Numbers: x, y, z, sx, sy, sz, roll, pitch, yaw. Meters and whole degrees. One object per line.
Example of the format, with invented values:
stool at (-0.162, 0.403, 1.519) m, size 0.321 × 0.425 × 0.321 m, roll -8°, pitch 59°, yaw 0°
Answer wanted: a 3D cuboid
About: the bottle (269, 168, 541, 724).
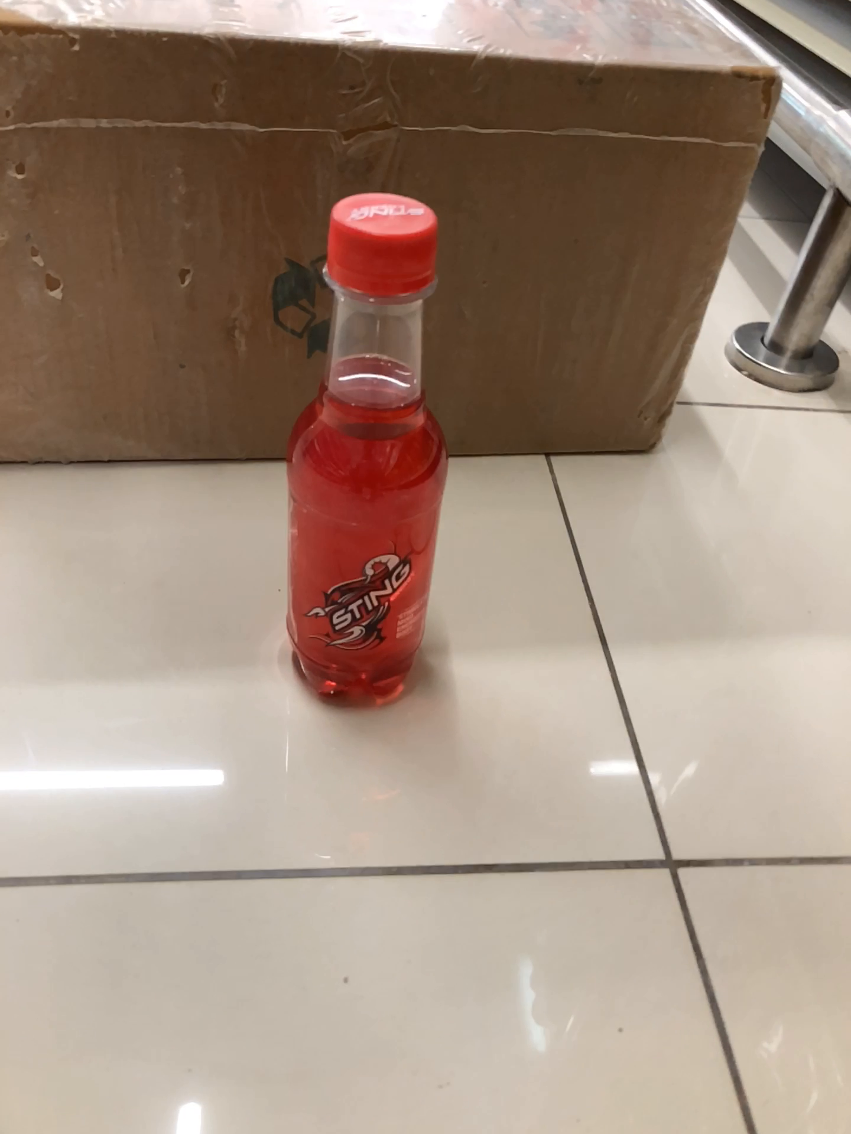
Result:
bottle at (-0.016, -0.031, 0.325) m, size 0.070 × 0.179 × 0.070 m, roll 4°, pitch 40°, yaw -4°
